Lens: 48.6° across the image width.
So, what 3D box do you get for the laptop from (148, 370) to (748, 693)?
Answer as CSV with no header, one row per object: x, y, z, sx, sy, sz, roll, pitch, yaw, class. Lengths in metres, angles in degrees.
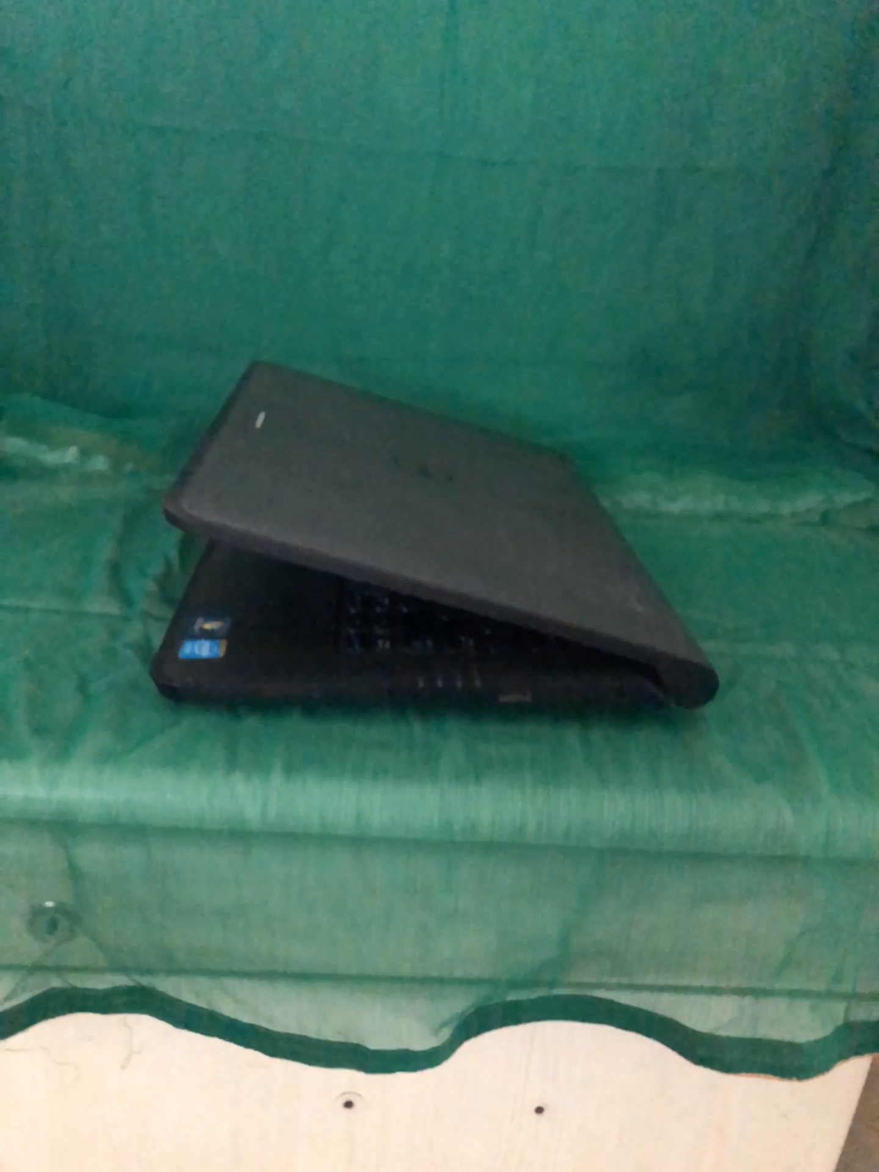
-0.006,-0.049,0.522,0.229,0.064,0.307,3,22,-5,laptop
